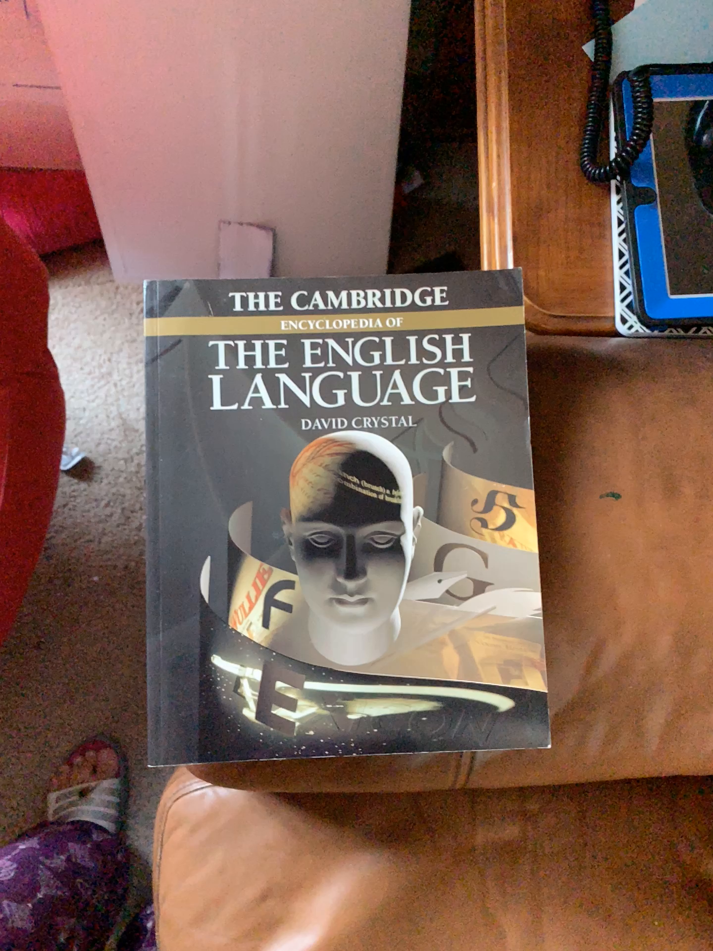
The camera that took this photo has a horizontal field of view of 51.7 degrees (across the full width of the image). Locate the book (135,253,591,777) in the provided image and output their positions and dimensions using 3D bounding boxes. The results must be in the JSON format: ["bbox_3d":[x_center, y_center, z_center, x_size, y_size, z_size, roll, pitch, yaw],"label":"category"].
[{"bbox_3d":[-0.001,0.016,0.429,0.240,0.050,0.280,-2,83,-3],"label":"book"}]
